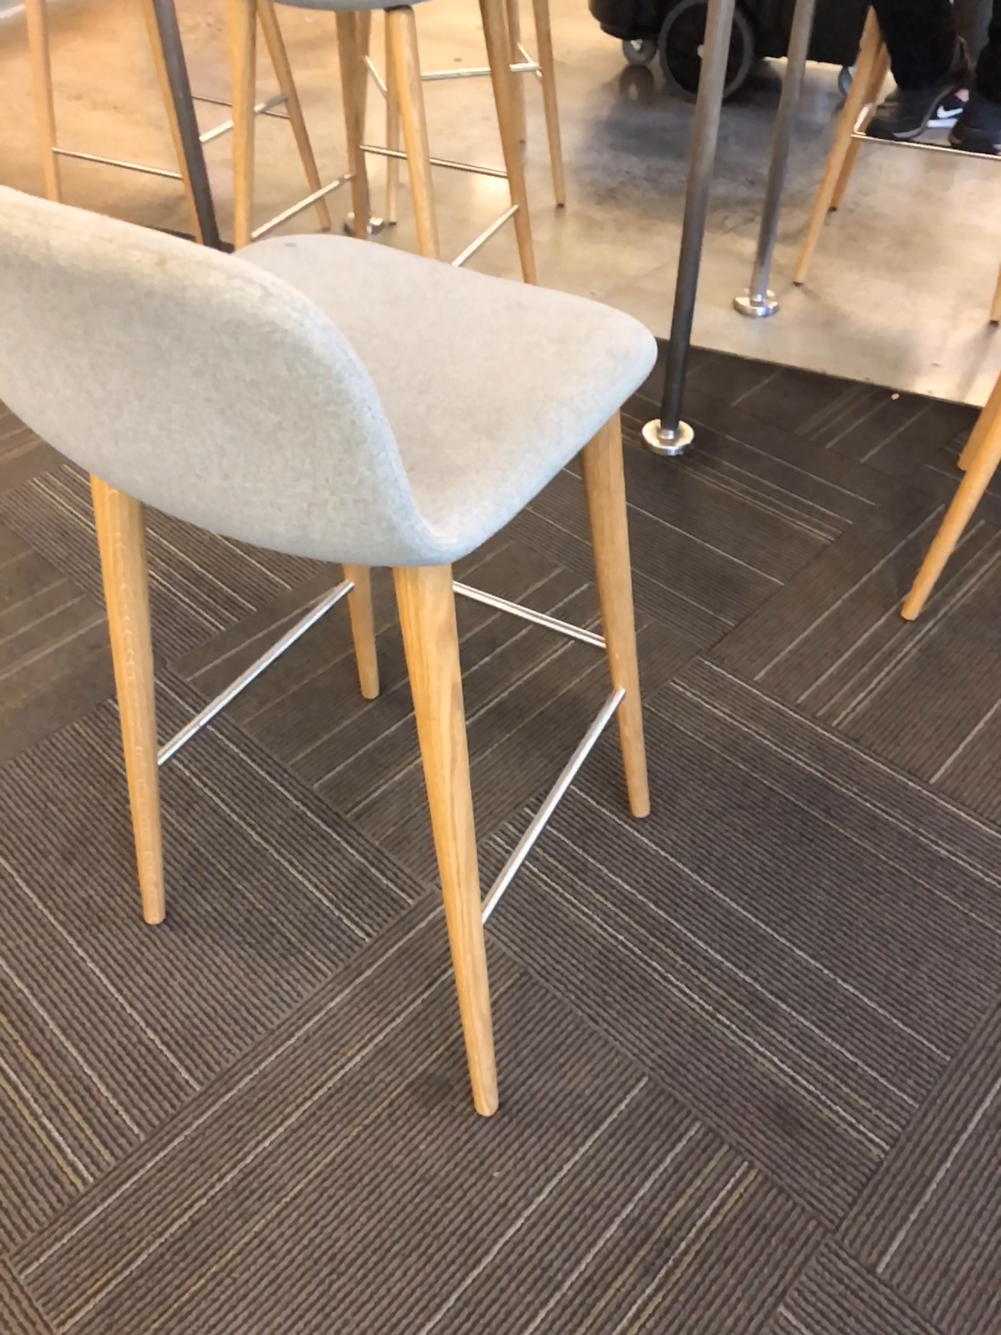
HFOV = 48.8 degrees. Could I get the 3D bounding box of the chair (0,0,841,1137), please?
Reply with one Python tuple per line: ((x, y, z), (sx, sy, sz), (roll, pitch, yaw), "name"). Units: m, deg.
((-0.116, -0.118, 1.109), (0.571, 0.946, 0.562), (21, 47, 21), "chair")
